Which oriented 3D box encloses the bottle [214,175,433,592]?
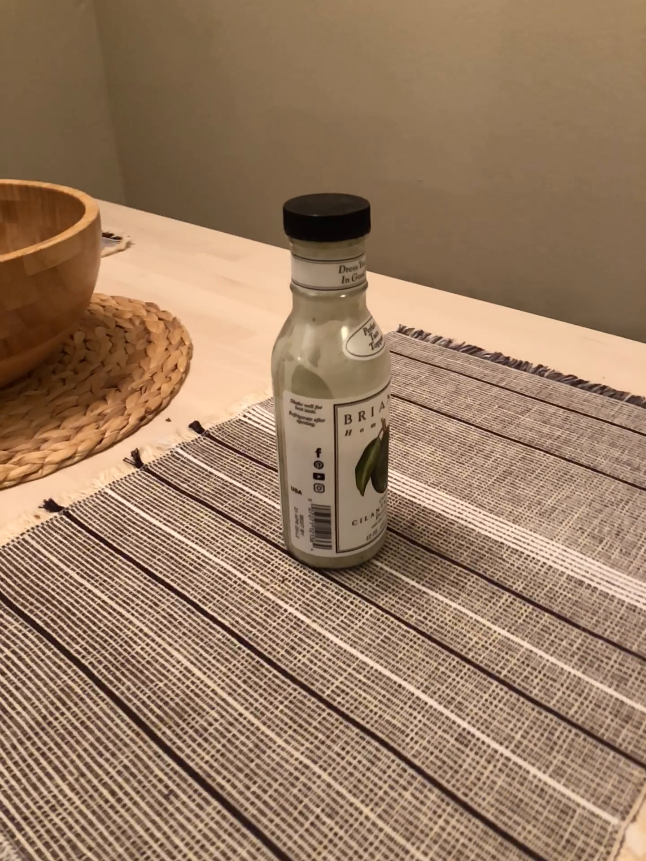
[{"bbox_3d":[0.004,-0.022,0.359,0.069,0.186,0.075,-1,31,1],"label":"bottle"}]
